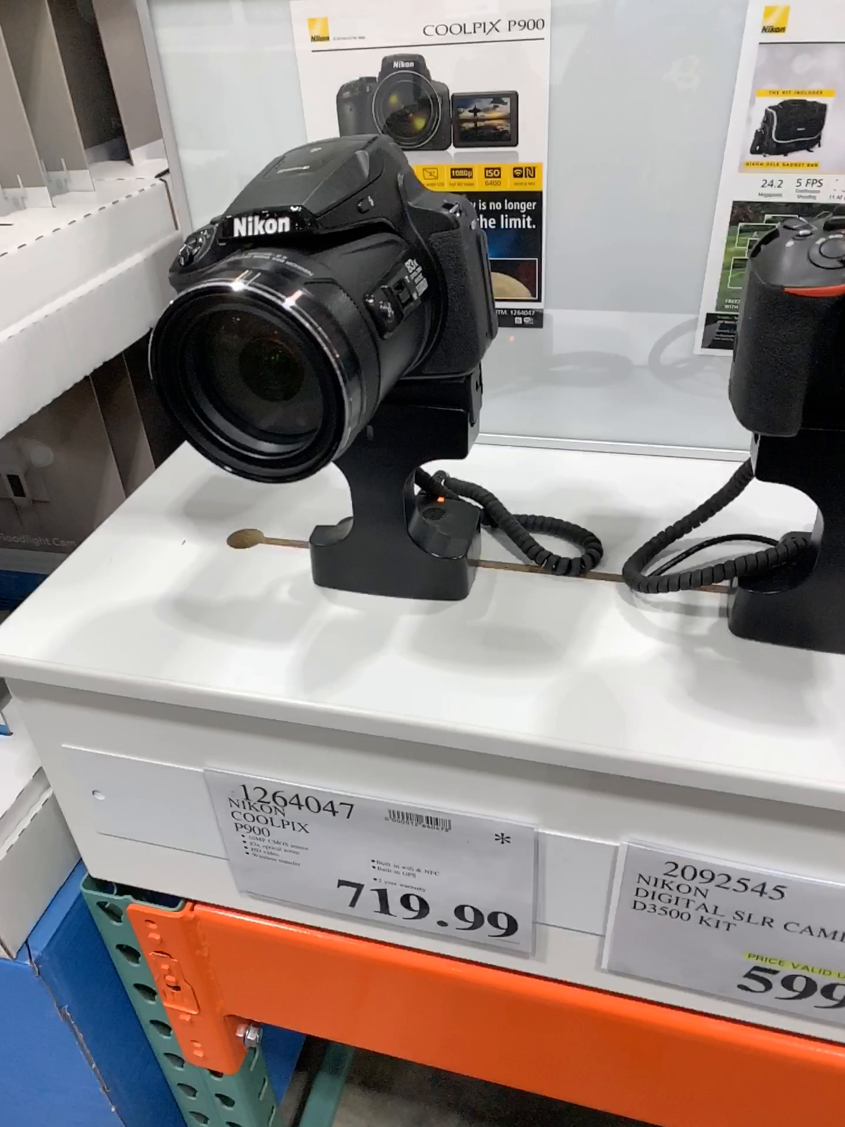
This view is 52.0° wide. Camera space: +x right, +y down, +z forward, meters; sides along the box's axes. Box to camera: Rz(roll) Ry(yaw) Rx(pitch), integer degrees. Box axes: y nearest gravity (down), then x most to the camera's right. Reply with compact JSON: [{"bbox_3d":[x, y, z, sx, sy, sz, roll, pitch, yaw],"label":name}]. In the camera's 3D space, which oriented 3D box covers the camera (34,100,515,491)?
[{"bbox_3d":[-0.045,-0.119,0.371,0.130,0.109,0.151,4,35,19],"label":"camera"}]
